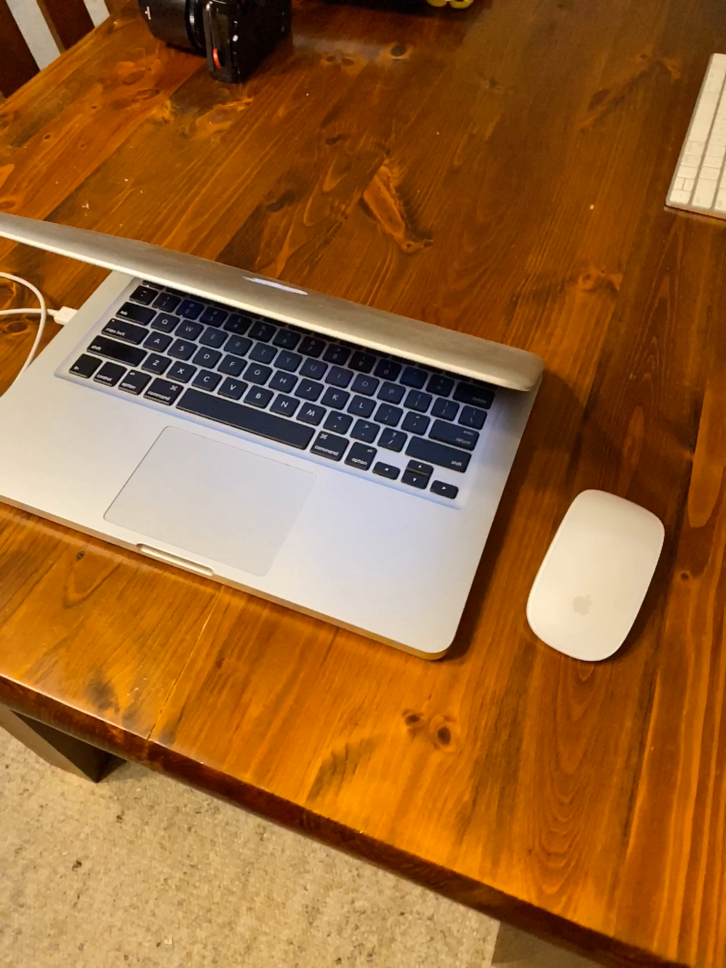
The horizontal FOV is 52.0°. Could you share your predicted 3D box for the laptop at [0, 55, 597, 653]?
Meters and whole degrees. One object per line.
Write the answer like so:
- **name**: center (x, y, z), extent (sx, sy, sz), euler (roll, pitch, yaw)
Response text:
- **laptop**: center (-0.066, -0.083, 0.410), extent (0.311, 0.136, 0.212), euler (19, 59, 11)
